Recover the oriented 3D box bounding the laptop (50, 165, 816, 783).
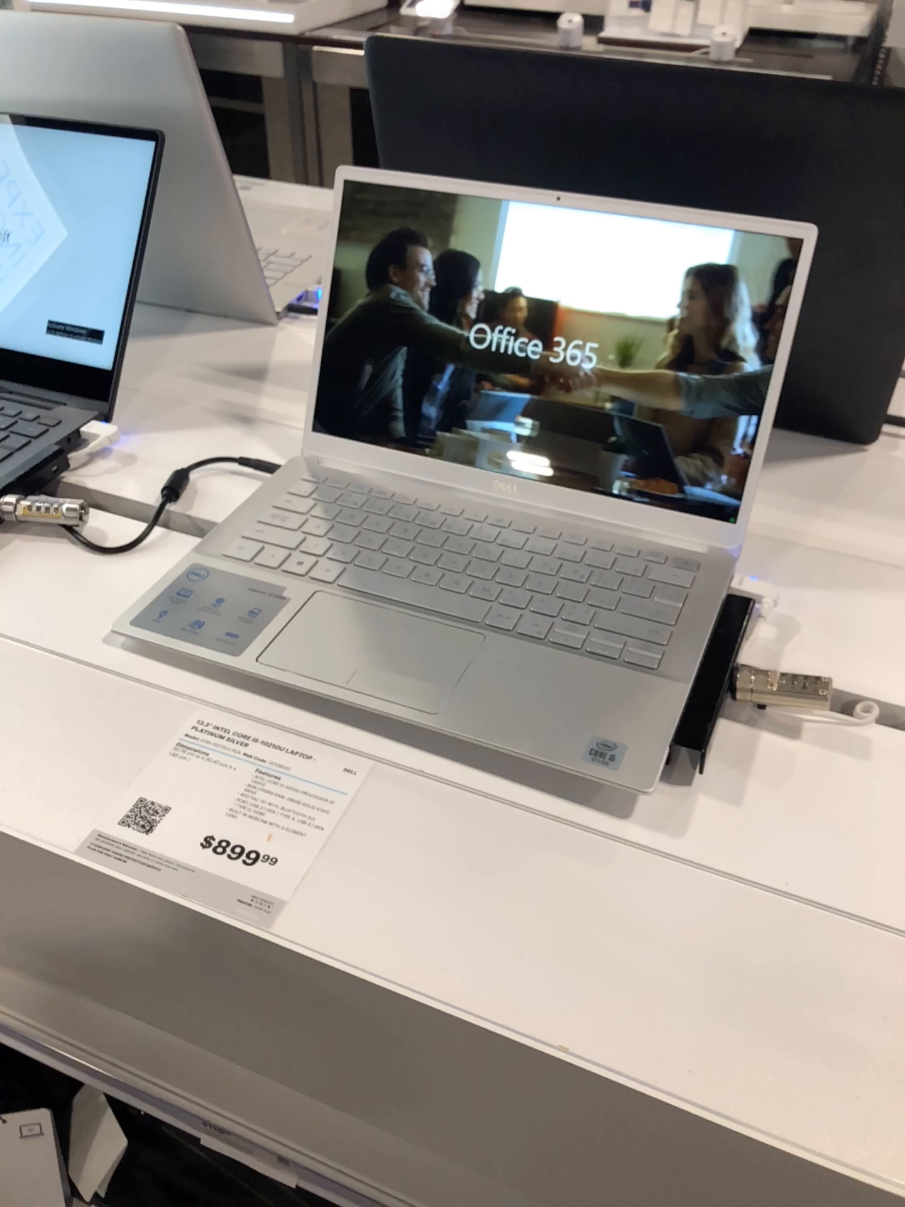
[{"bbox_3d":[0.007,-0.104,0.556,0.293,0.165,0.294,15,42,21],"label":"laptop"}]
